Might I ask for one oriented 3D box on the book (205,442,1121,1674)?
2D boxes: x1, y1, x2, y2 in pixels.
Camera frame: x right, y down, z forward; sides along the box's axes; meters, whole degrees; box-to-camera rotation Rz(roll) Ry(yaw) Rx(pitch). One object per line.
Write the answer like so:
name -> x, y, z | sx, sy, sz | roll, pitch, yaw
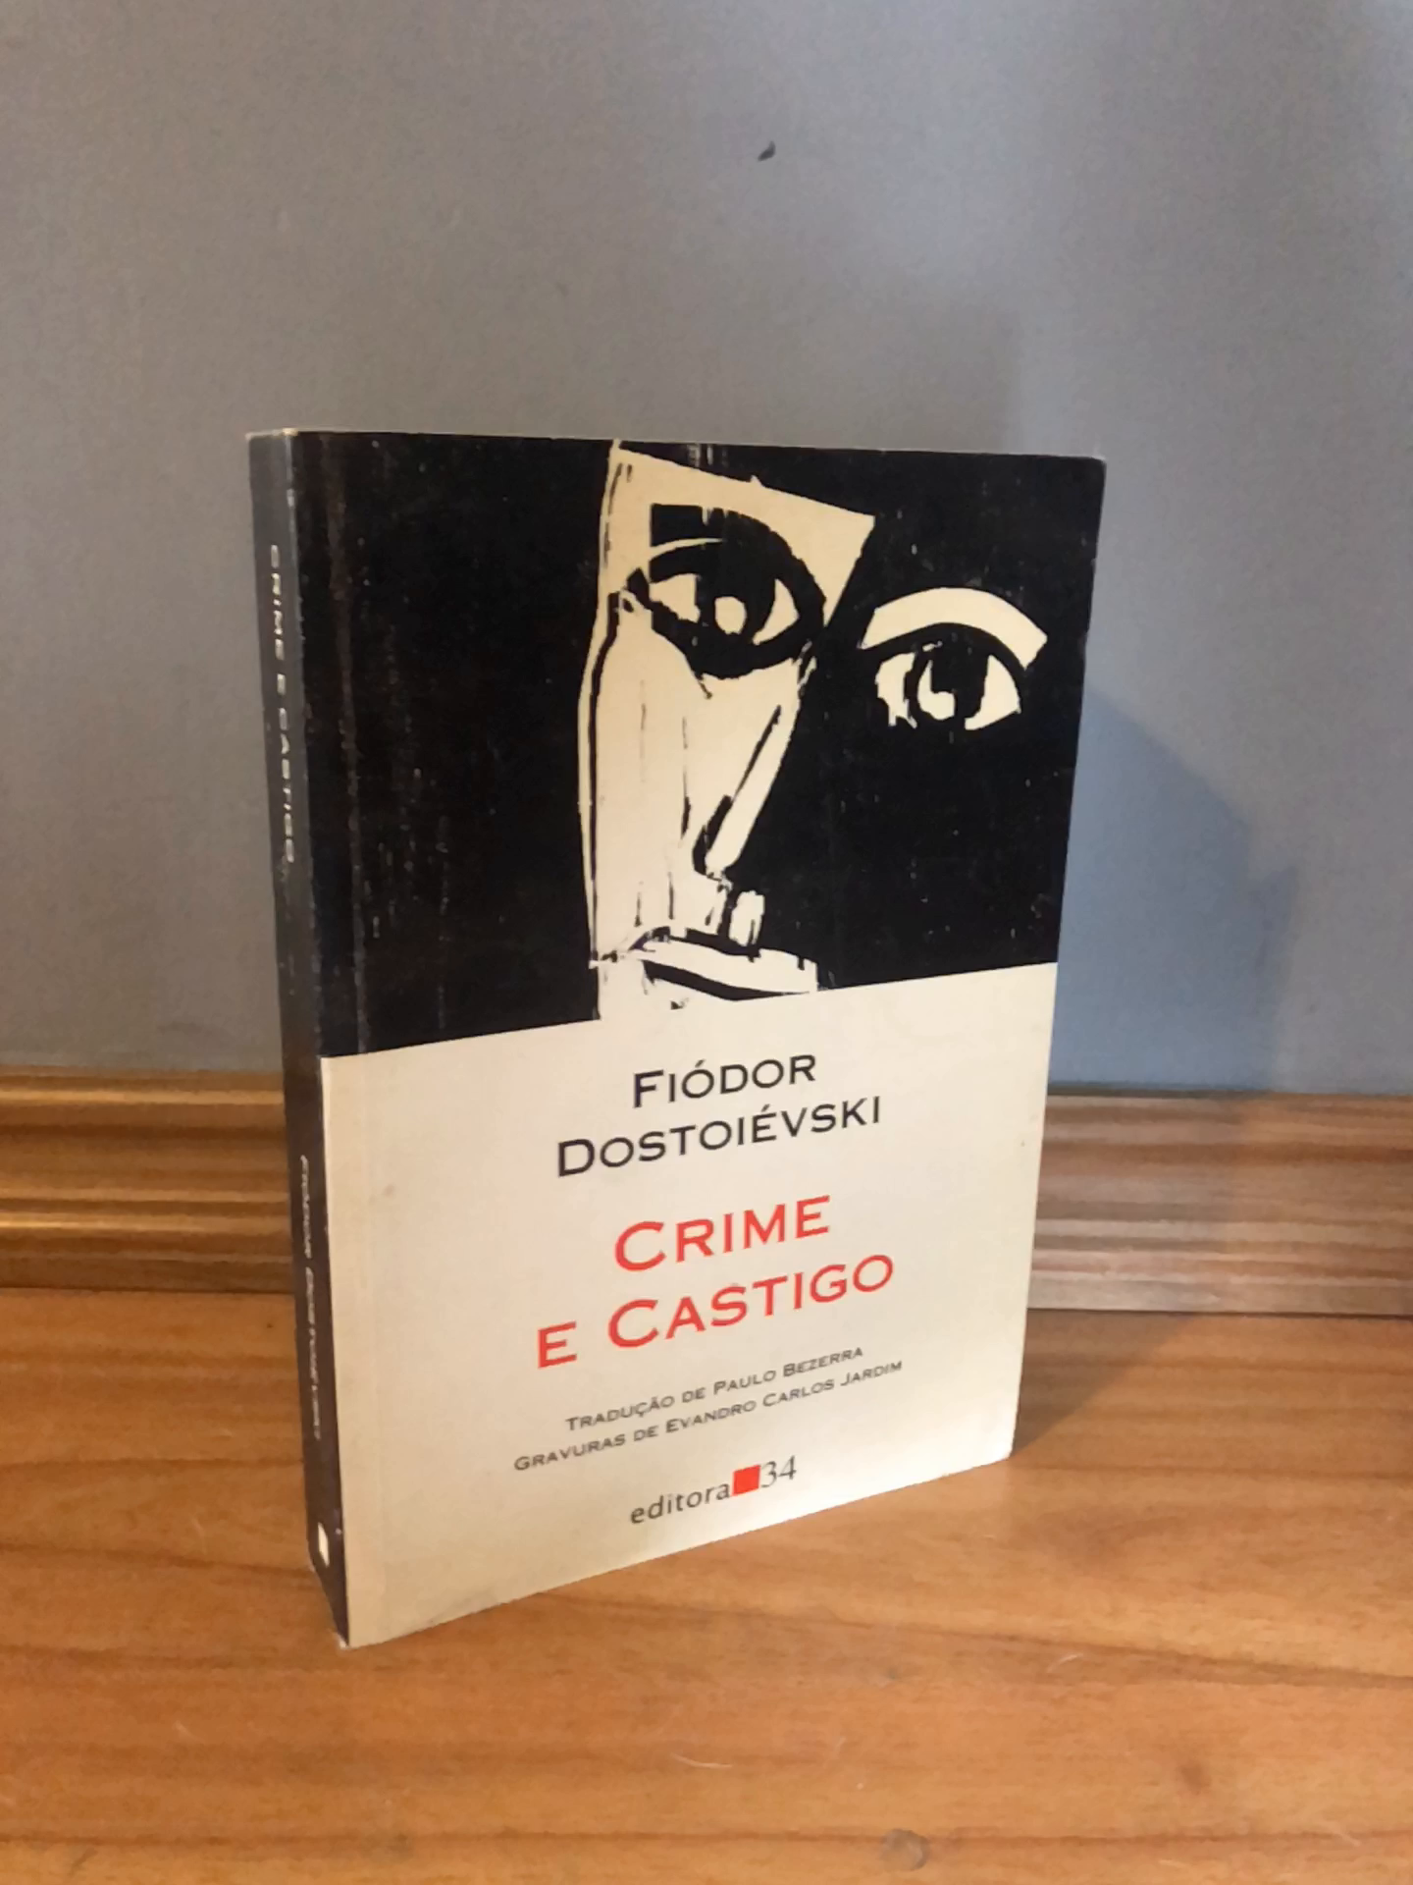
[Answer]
book -> -0.006, 0.017, 0.325 | 0.170, 0.223, 0.045 | -6, 16, -25
